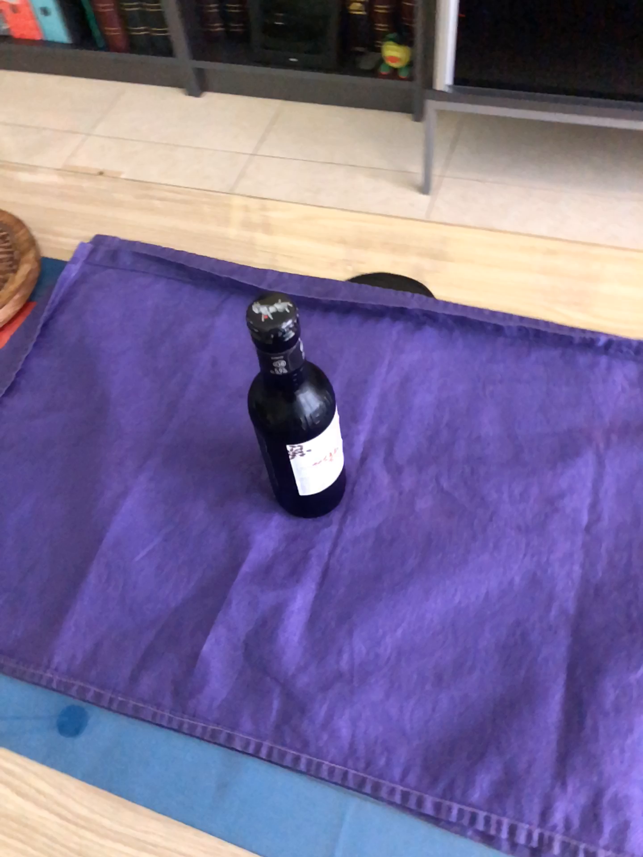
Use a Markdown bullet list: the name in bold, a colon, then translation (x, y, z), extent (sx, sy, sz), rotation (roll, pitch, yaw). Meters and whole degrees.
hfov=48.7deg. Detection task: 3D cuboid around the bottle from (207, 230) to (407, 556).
- **bottle**: translation (0.002, -0.009, 0.431), extent (0.070, 0.199, 0.070), rotation (-3, 56, 5)
